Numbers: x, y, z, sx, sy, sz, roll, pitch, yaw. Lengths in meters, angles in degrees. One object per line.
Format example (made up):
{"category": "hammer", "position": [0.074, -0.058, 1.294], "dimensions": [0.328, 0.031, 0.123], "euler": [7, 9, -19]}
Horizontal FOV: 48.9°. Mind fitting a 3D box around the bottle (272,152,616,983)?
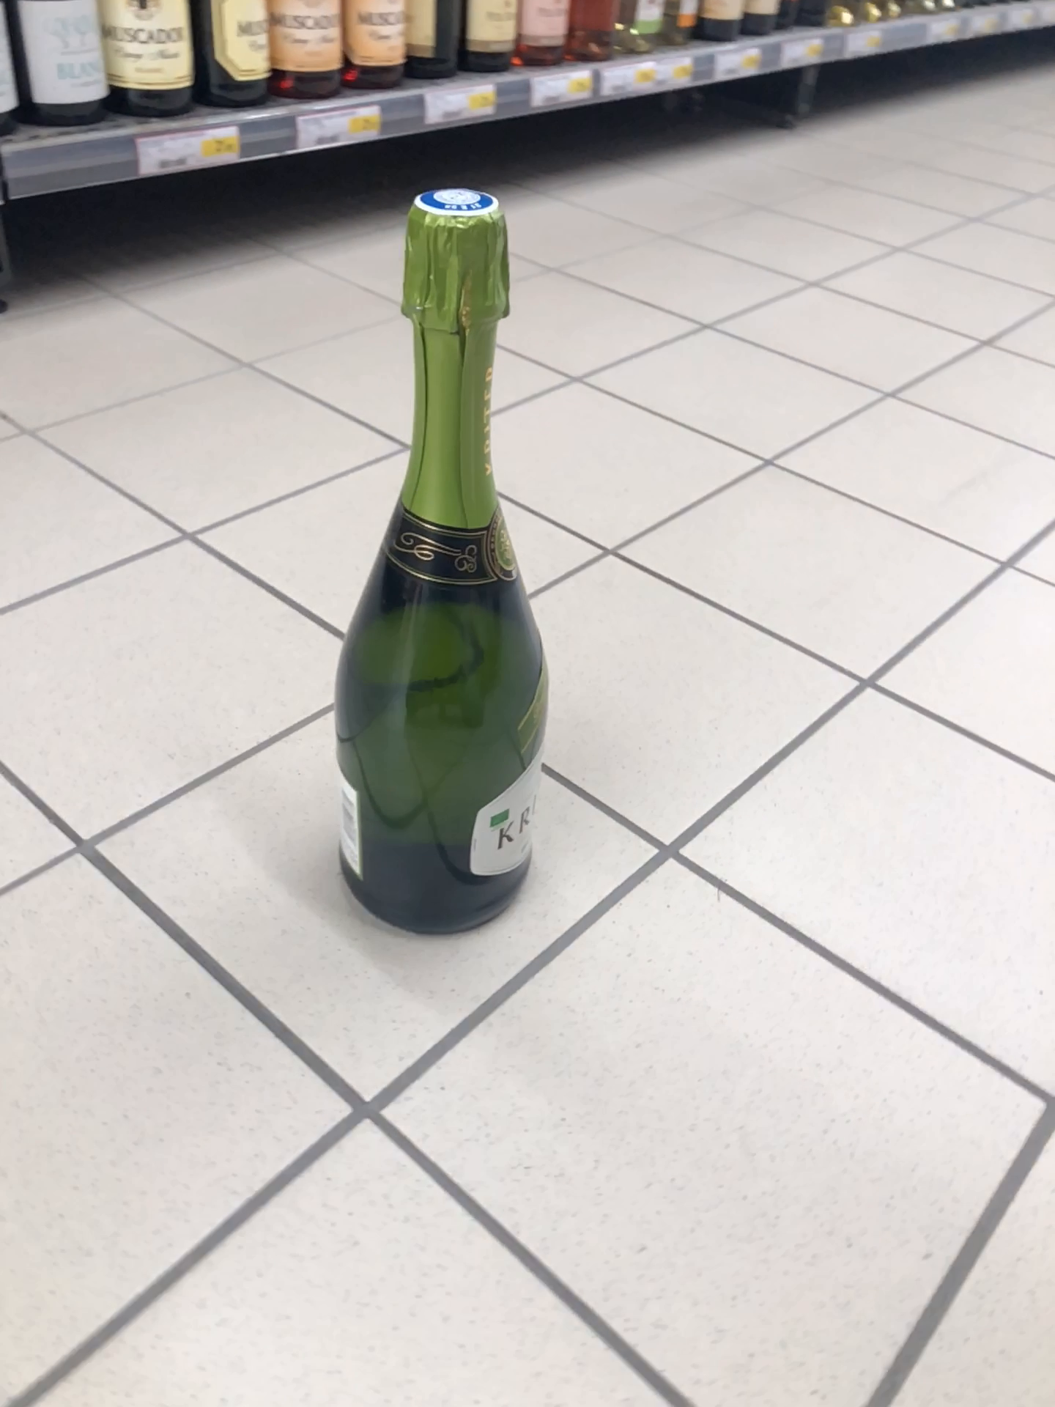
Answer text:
{"category": "bottle", "position": [-0.033, -0.036, 0.460], "dimensions": [0.090, 0.308, 0.101], "euler": [9, 37, 4]}
